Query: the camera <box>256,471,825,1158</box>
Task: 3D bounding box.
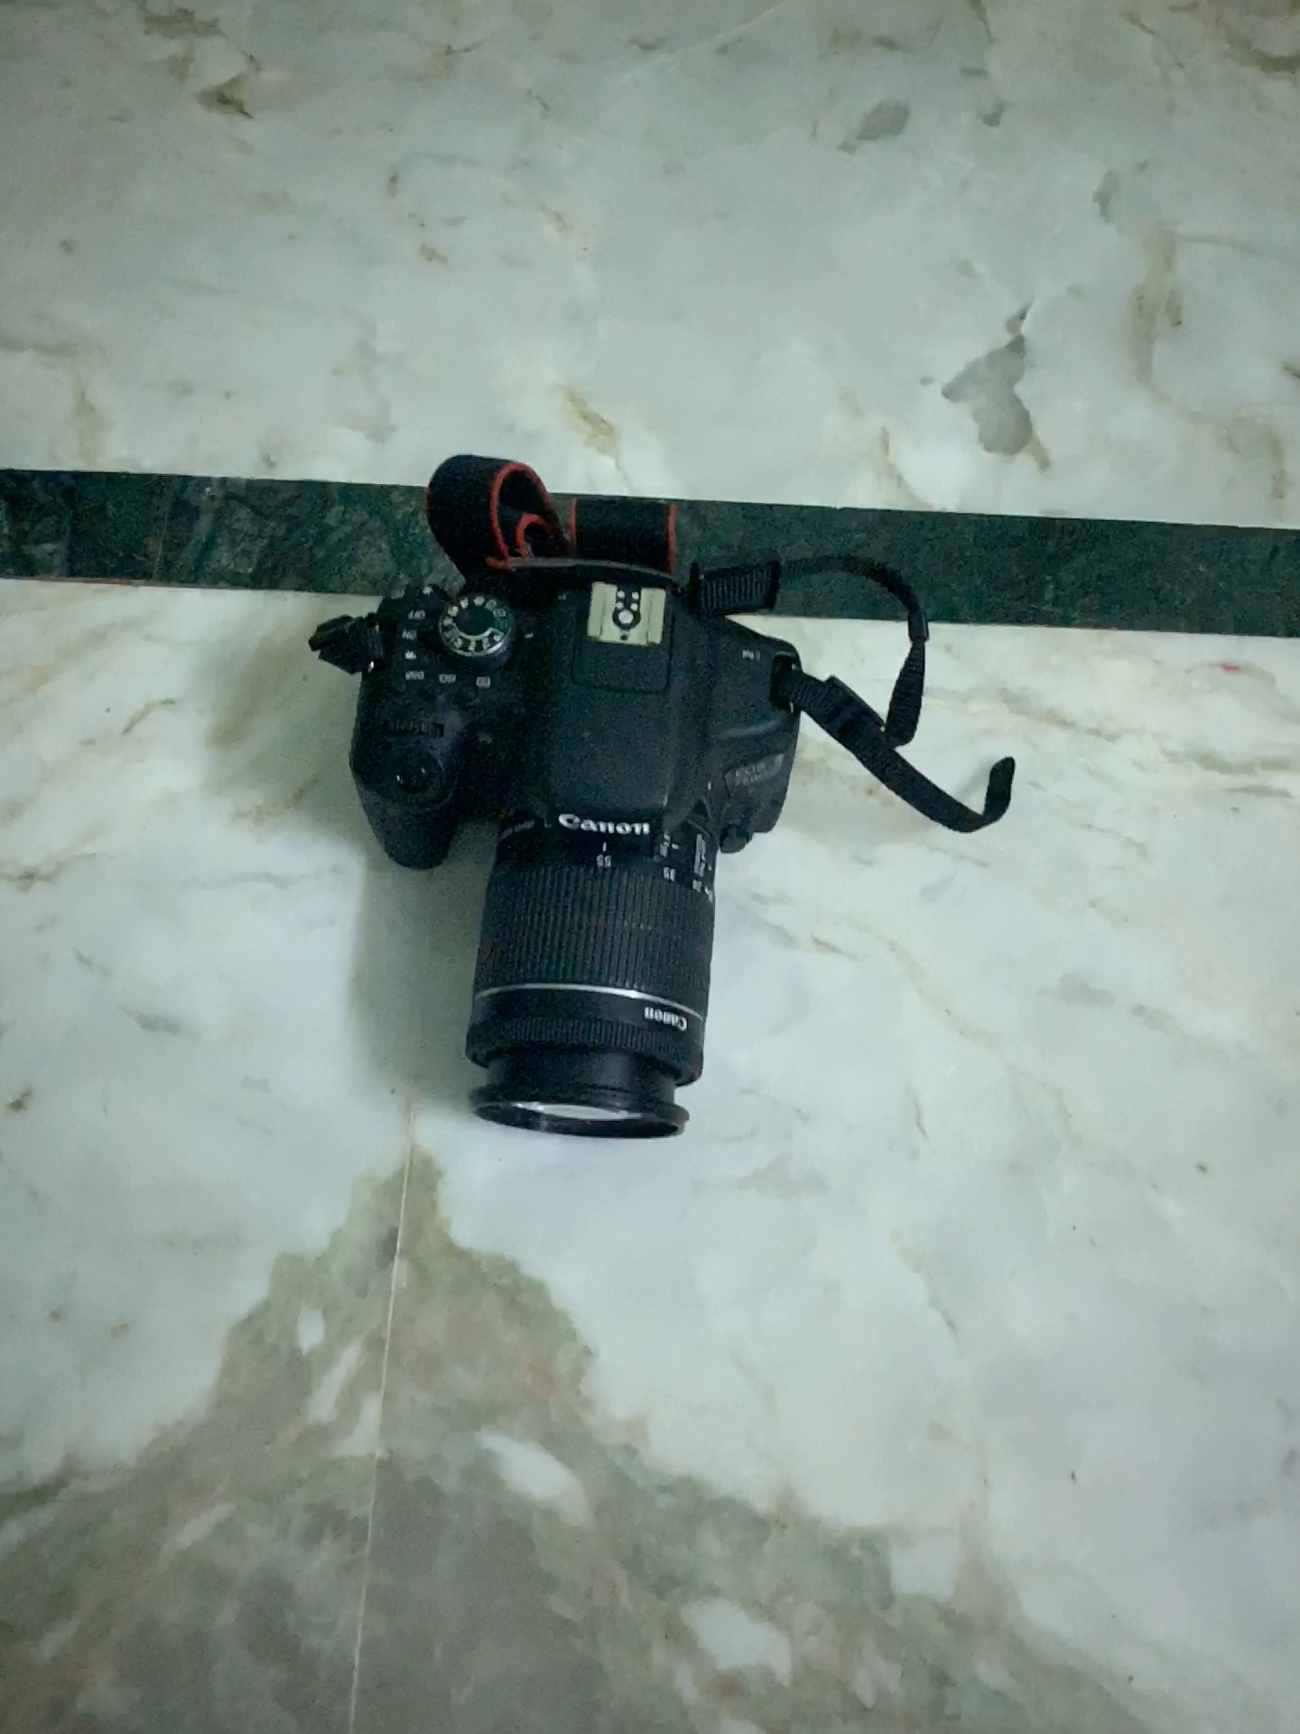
[{"bbox_3d":[-0.023,-0.011,0.380,0.128,0.100,0.160,4,68,-1],"label":"camera"}]
